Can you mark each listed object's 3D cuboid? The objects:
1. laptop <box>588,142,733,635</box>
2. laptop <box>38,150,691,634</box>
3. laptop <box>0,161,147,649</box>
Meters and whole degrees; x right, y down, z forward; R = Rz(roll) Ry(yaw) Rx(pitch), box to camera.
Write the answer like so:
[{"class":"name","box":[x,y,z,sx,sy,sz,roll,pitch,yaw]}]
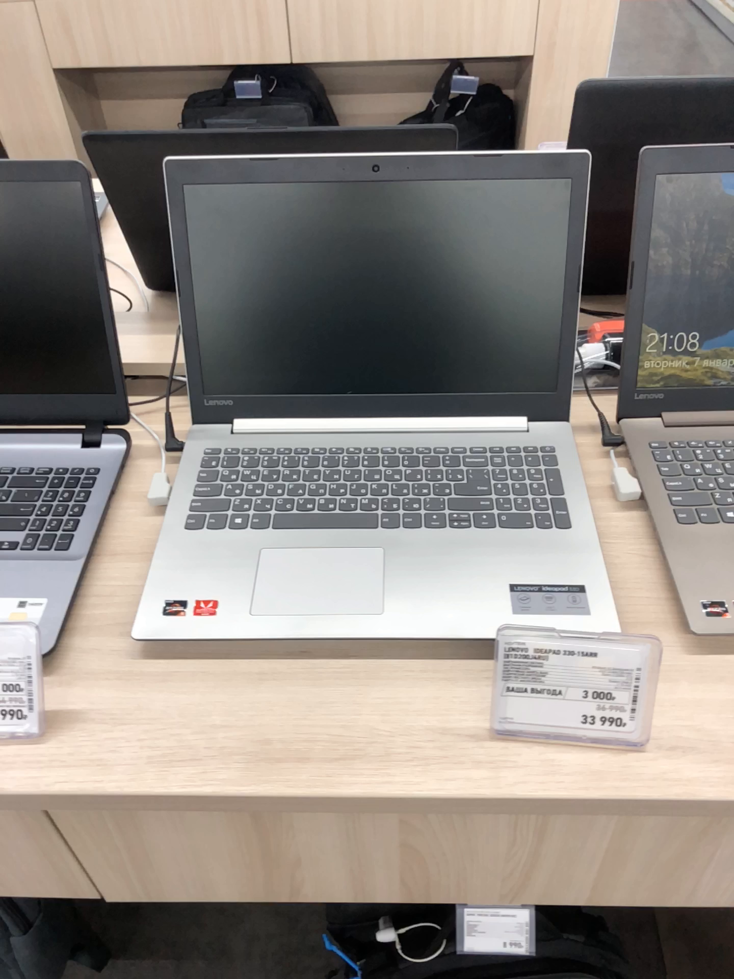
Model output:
[{"class":"laptop","box":[0.419,-0.094,0.630,0.357,0.222,0.328,-2,44,0]},{"class":"laptop","box":[0.004,-0.090,0.647,0.365,0.220,0.337,0,44,2]},{"class":"laptop","box":[-0.406,-0.077,0.638,0.326,0.232,0.320,1,44,3]}]
